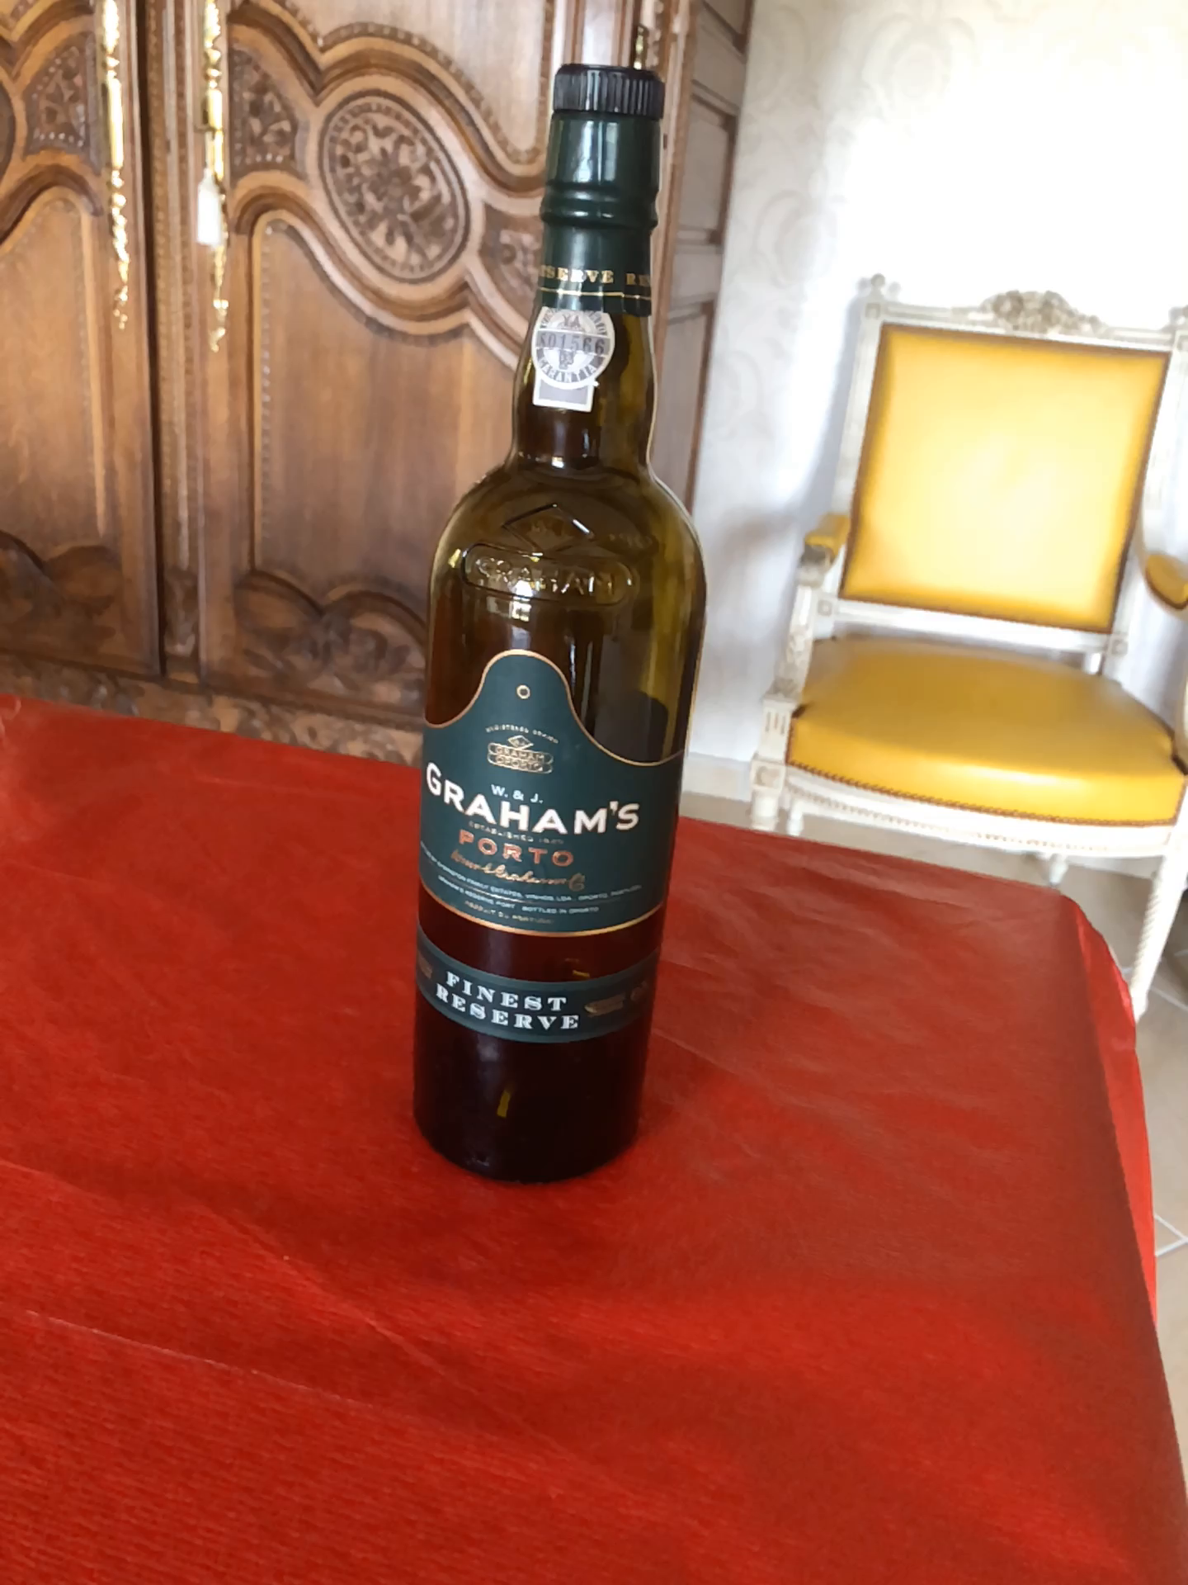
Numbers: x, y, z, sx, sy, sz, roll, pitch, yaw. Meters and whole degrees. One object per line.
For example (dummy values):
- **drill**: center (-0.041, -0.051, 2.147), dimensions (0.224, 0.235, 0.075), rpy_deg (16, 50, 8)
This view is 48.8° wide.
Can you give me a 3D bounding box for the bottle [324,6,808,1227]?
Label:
- **bottle**: center (-0.013, -0.037, 0.366), dimensions (0.090, 0.298, 0.091), rpy_deg (5, 23, -2)
